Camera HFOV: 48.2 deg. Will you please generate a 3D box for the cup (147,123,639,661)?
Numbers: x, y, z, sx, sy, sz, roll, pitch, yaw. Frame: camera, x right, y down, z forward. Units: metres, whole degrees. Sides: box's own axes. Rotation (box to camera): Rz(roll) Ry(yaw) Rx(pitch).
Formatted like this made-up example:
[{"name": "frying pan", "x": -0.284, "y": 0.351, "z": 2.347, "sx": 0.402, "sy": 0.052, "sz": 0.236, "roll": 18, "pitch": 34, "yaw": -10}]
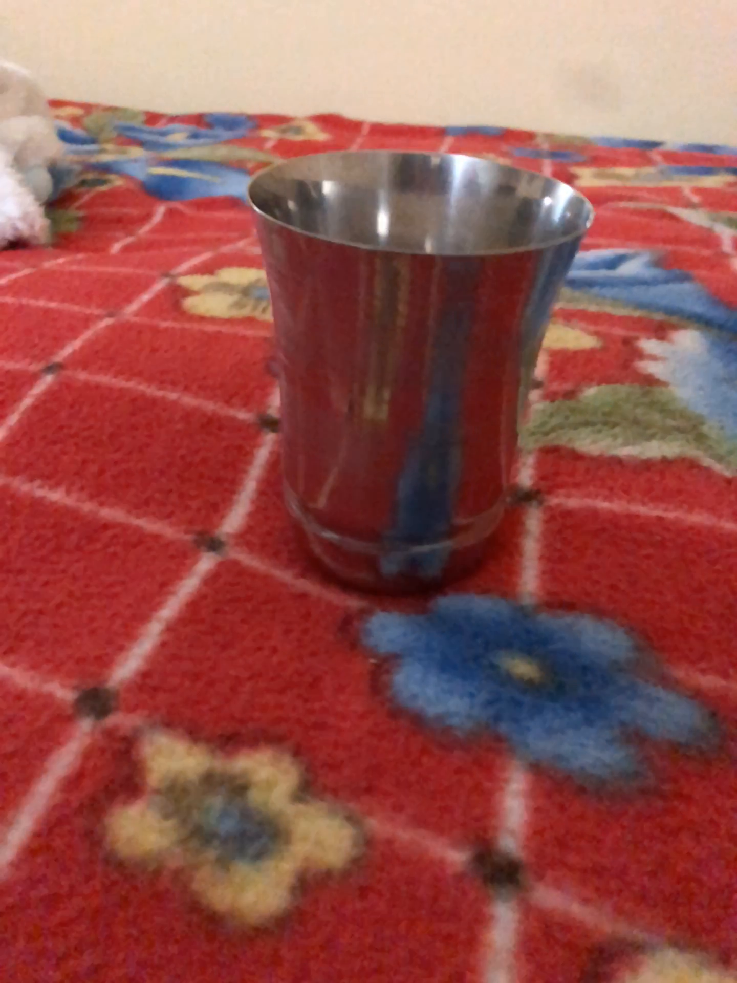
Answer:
[{"name": "cup", "x": 0.009, "y": -0.031, "z": 0.207, "sx": 0.089, "sy": 0.090, "sz": 0.087, "roll": 5, "pitch": 33, "yaw": -3}]
